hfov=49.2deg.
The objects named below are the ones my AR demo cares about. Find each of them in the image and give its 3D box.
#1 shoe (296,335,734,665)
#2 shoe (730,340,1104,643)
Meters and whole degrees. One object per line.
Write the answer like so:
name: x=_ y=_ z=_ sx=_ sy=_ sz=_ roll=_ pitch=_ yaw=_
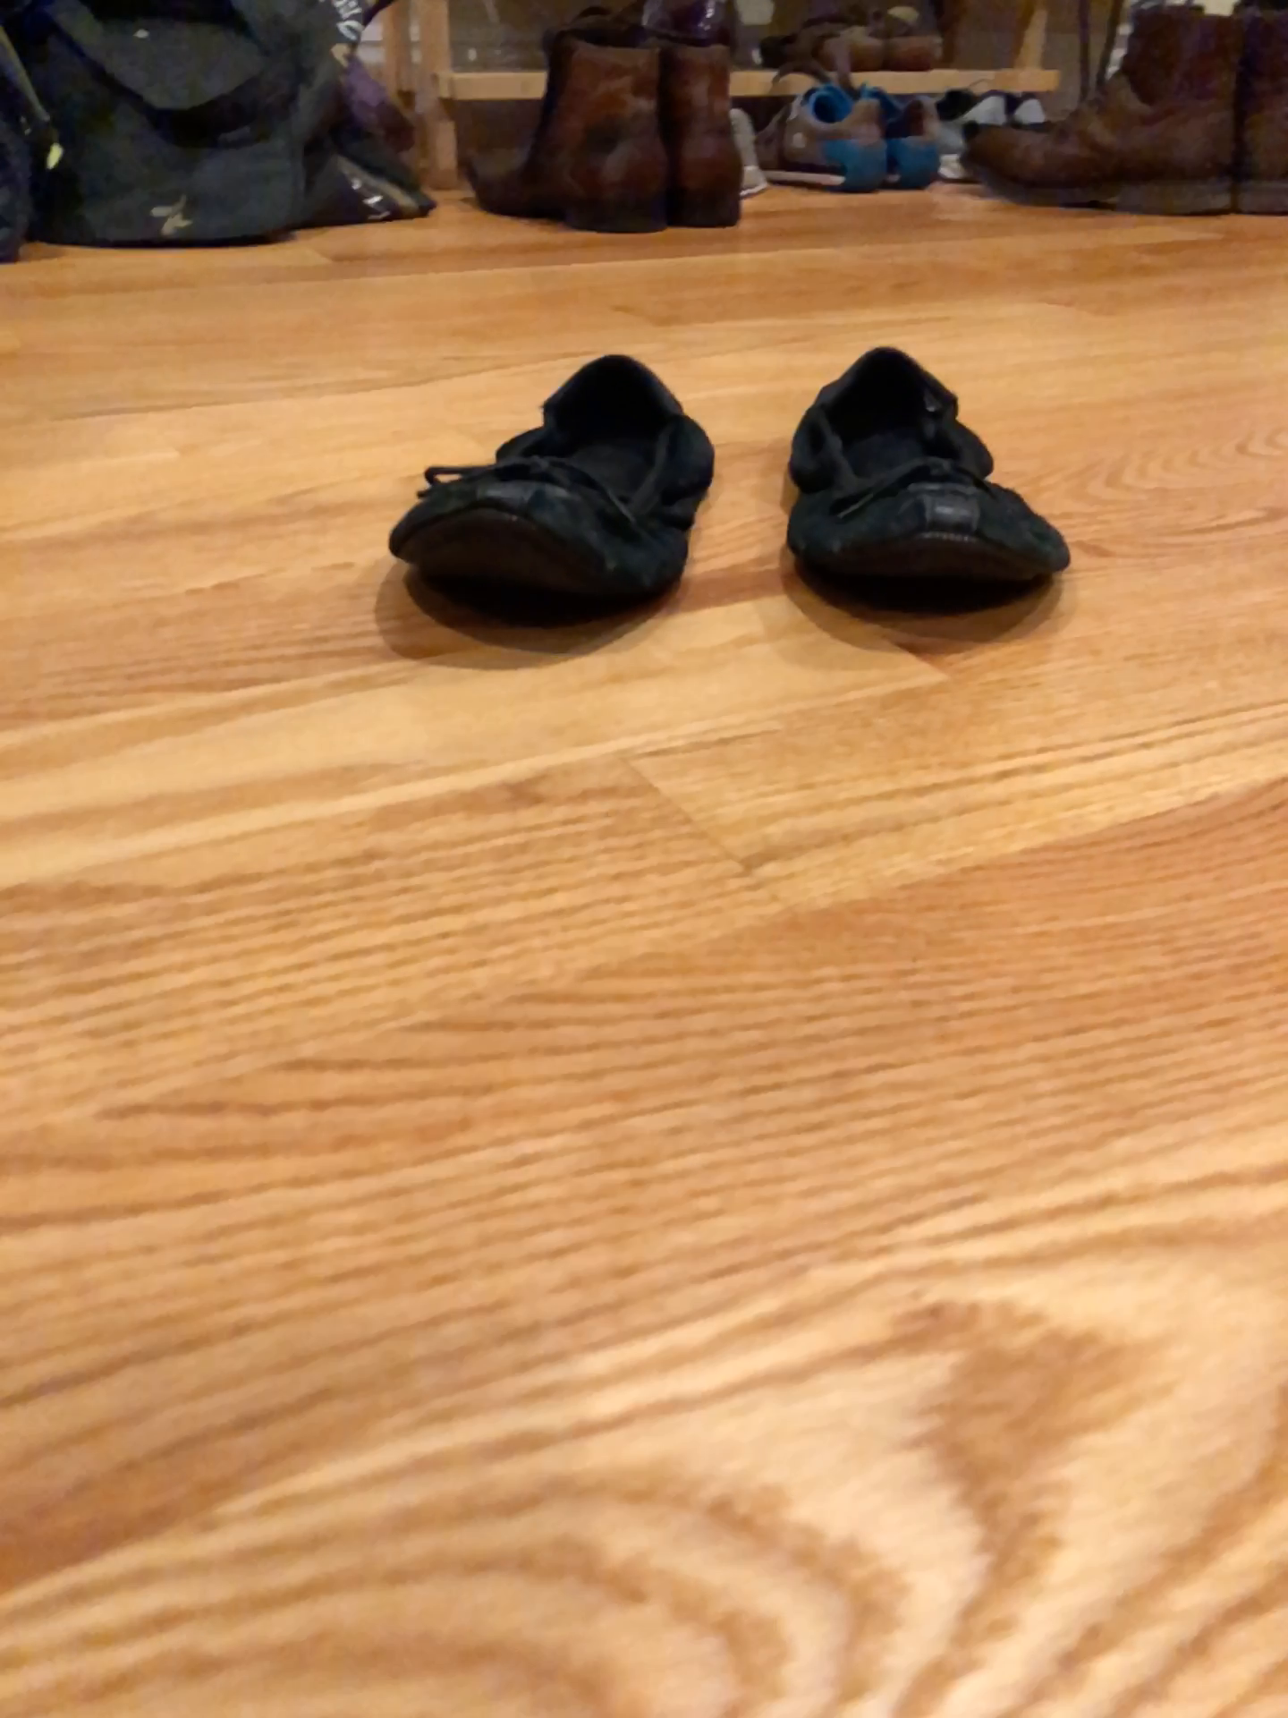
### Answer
shoe: x=-0.031 y=-0.137 z=0.496 sx=0.100 sy=0.050 sz=0.221 roll=5 pitch=30 yaw=8
shoe: x=0.084 y=-0.141 z=0.505 sx=0.093 sy=0.046 sz=0.221 roll=1 pitch=30 yaw=0
